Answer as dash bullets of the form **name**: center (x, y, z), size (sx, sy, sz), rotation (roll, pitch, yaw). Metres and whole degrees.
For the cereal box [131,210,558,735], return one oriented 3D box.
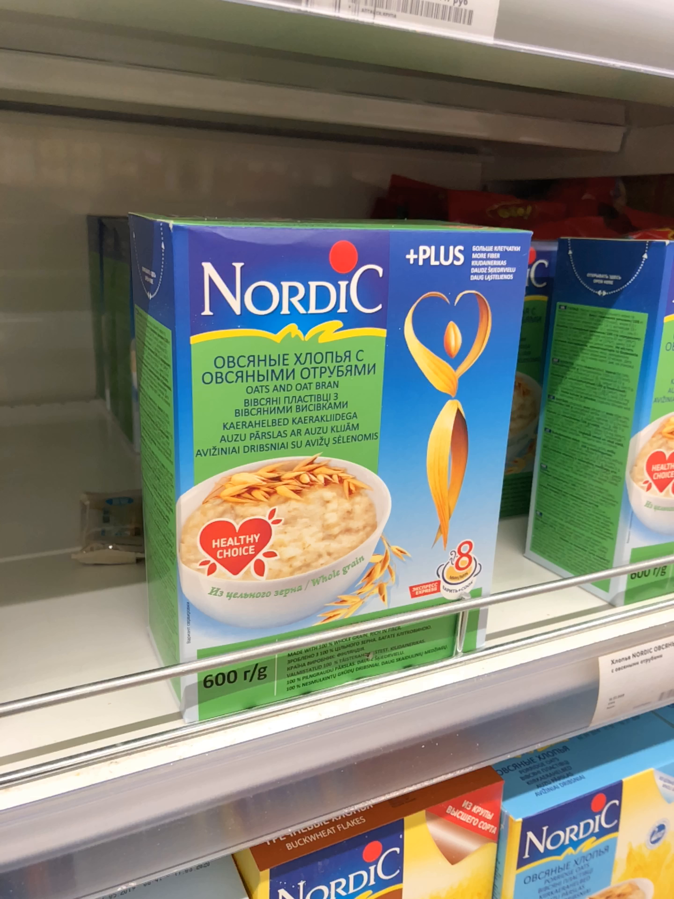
- **cereal box**: center (-0.001, 0.001, 0.318), size (0.150, 0.189, 0.070), rotation (-6, 19, -24)
